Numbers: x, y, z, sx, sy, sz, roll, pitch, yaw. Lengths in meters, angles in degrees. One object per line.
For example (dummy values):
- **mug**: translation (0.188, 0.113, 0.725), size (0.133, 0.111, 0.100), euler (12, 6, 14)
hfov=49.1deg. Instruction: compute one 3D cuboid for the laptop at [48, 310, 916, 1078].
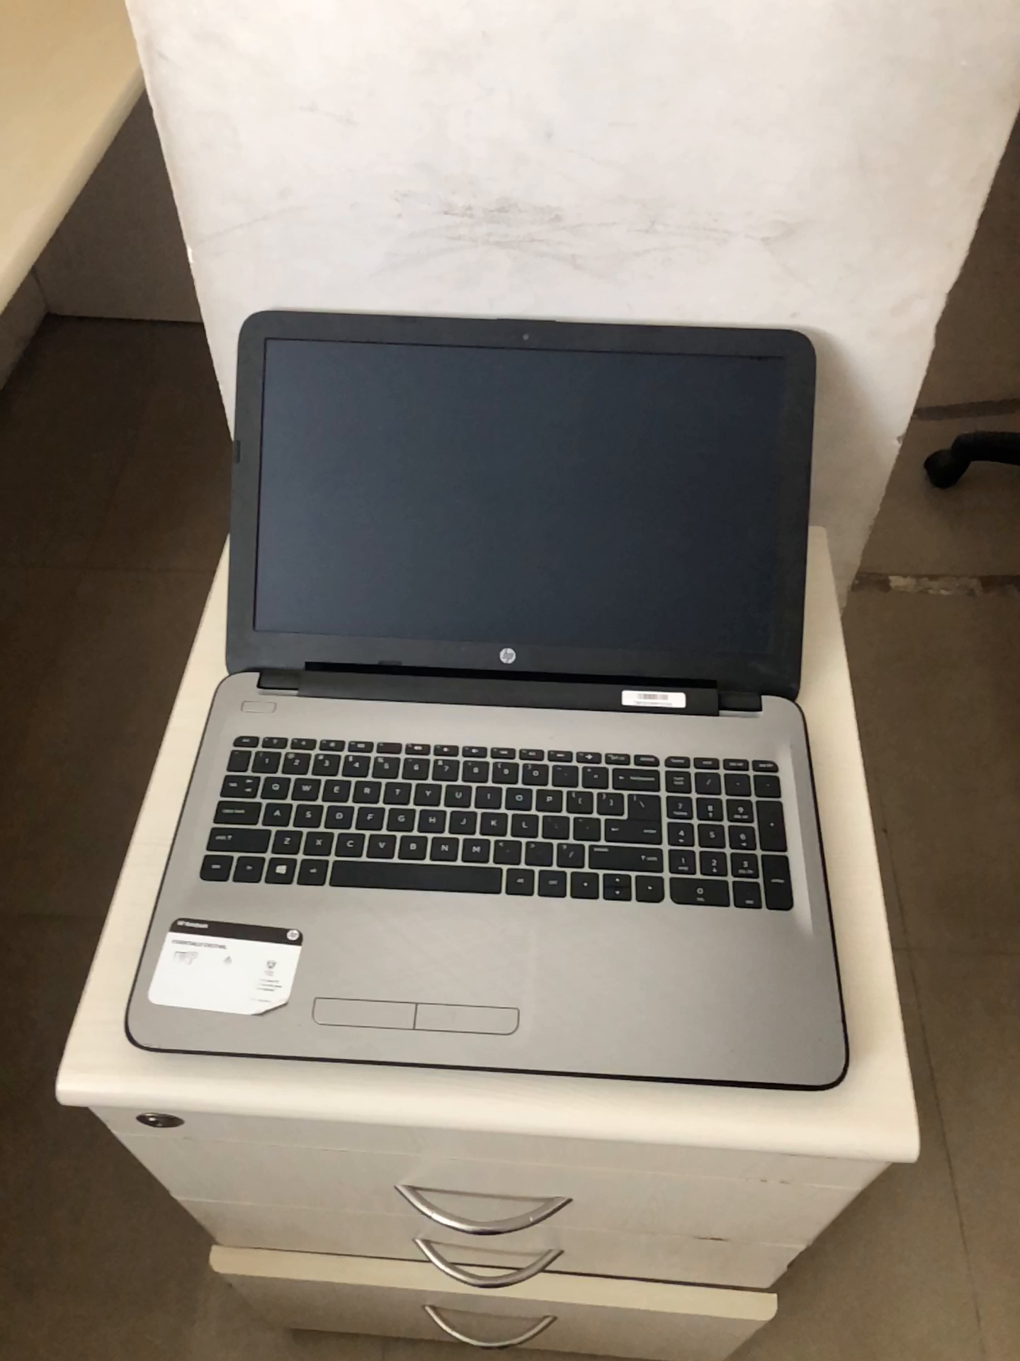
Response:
- **laptop**: translation (-0.002, -0.020, 0.644), size (0.361, 0.136, 0.427), euler (3, 53, 2)
